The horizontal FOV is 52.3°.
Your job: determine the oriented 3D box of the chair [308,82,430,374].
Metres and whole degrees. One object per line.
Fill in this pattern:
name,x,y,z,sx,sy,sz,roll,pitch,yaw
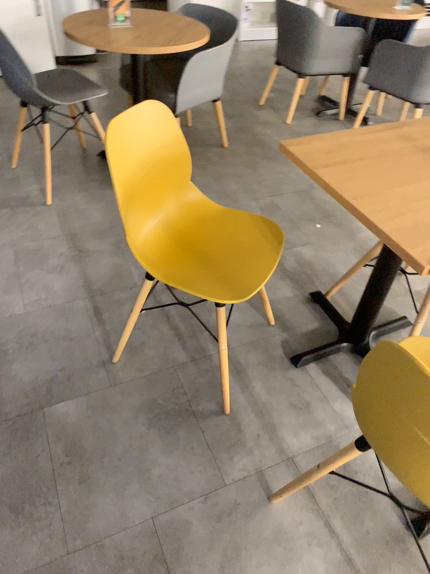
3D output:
chair,0.748,-0.200,1.524,0.493,0.776,0.500,-16,46,-21

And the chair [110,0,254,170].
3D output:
chair,-0.197,-1.215,2.573,0.549,0.756,0.525,33,49,27

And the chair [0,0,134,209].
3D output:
chair,-0.772,-0.901,2.103,0.524,0.776,0.499,-29,53,-32

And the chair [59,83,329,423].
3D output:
chair,-0.045,-0.098,1.359,0.492,0.786,0.521,20,44,15

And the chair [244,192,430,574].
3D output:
chair,0.453,0.313,0.949,0.493,0.776,0.500,-24,50,-29
